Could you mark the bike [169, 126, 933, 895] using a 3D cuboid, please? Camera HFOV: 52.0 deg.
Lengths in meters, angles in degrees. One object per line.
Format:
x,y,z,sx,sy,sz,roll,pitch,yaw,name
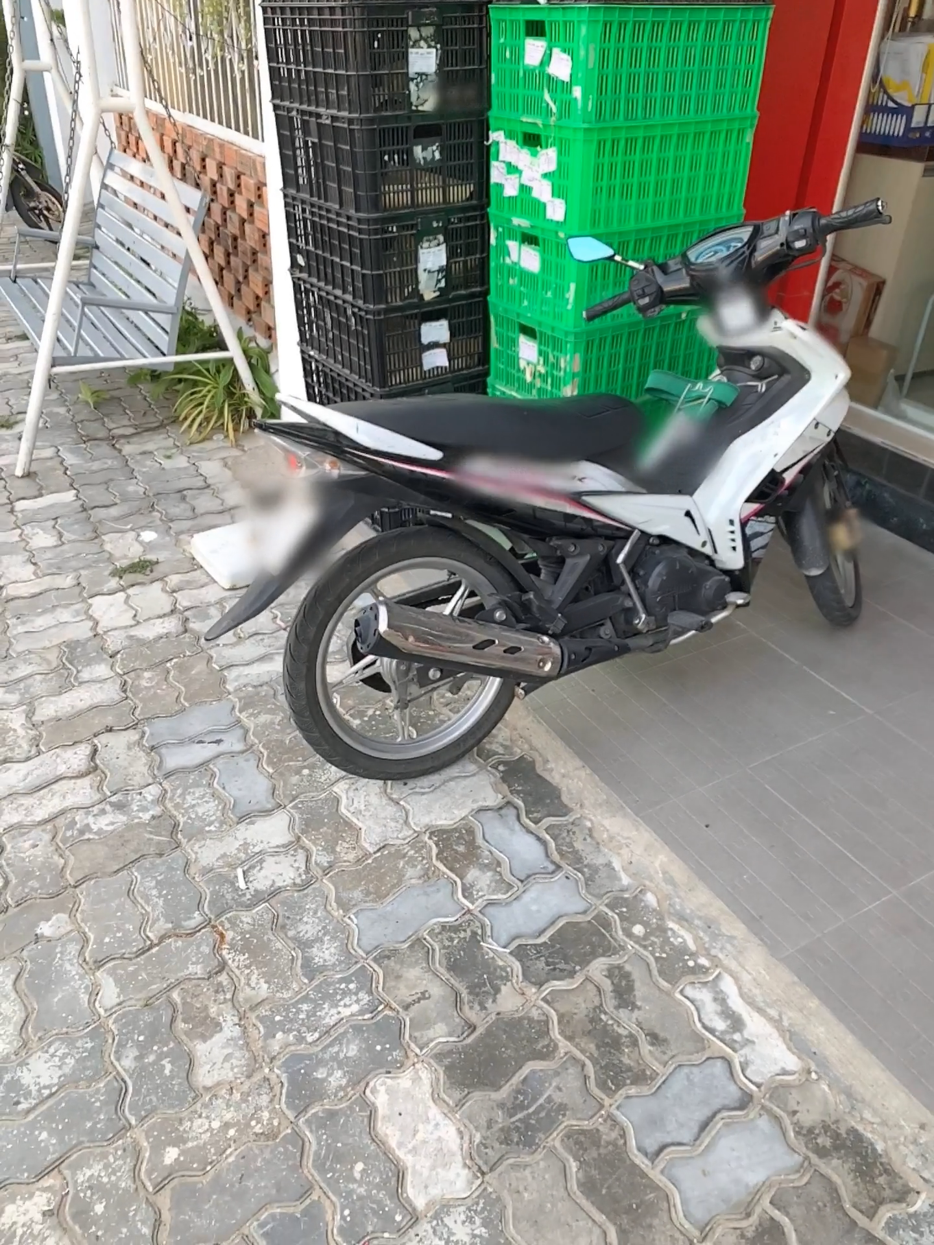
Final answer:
0.342,-0.419,2.286,1.817,1.186,0.669,-21,39,-30,bike
